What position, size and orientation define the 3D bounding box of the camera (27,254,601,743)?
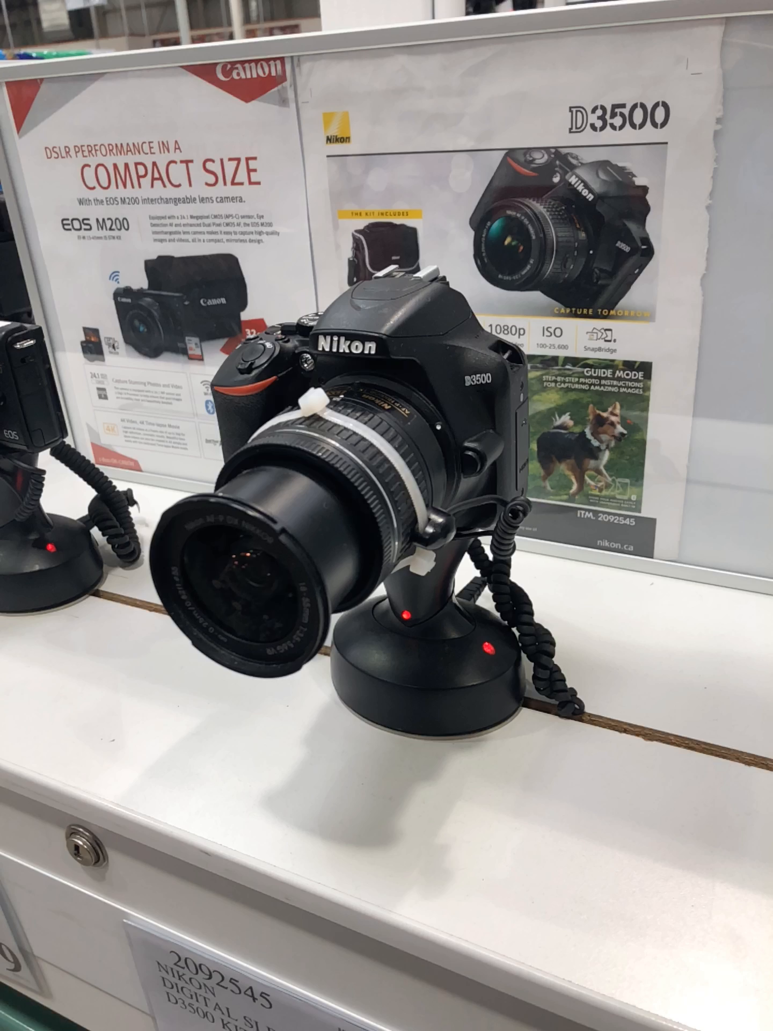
[{"bbox_3d":[-0.006,-0.030,0.341,0.140,0.110,0.191,8,28,23],"label":"camera"}]
